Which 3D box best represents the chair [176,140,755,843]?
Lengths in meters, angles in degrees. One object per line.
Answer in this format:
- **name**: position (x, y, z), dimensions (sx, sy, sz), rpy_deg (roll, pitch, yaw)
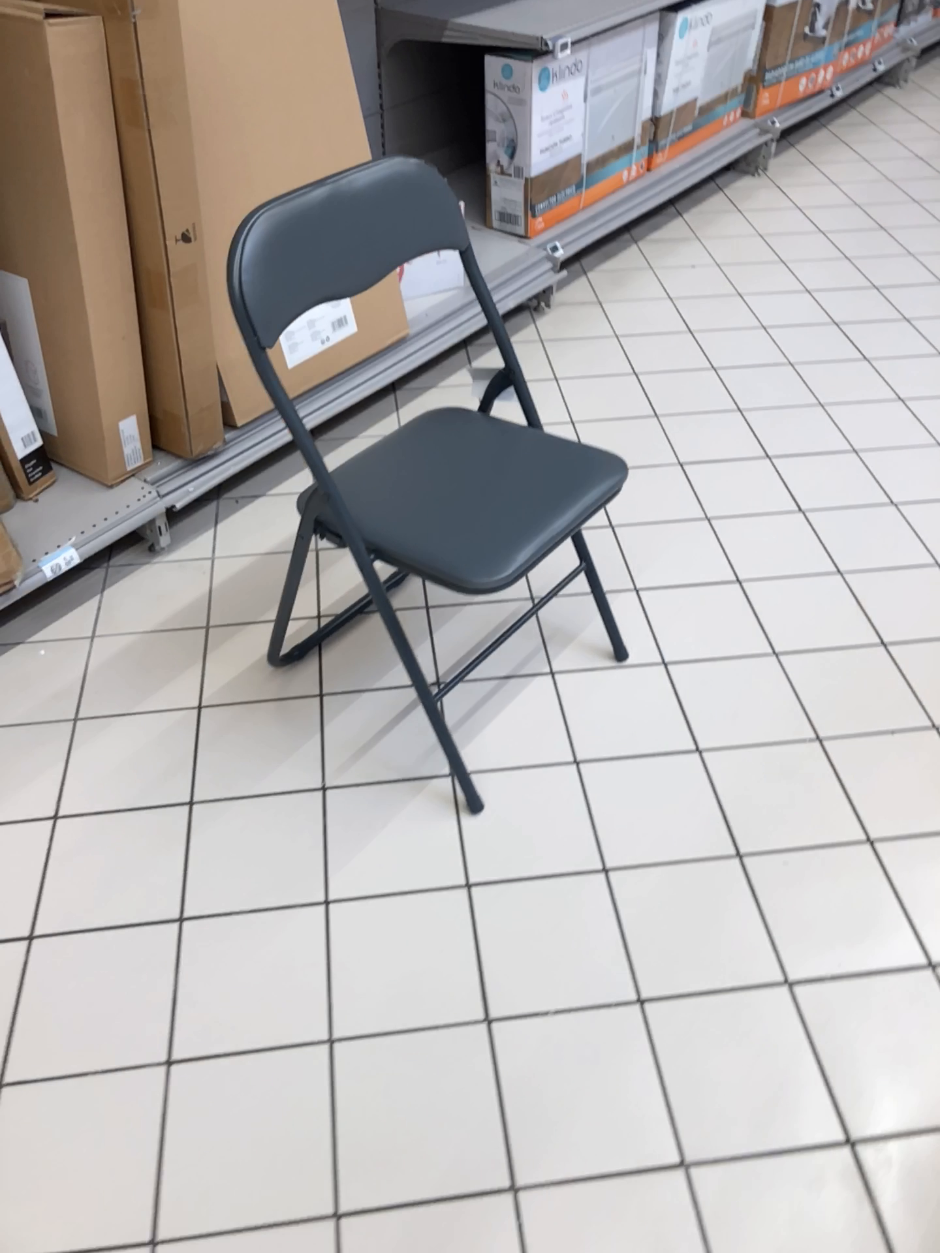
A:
- **chair**: position (0.008, -0.211, 1.534), dimensions (0.500, 0.756, 0.553), rpy_deg (25, 47, 25)
